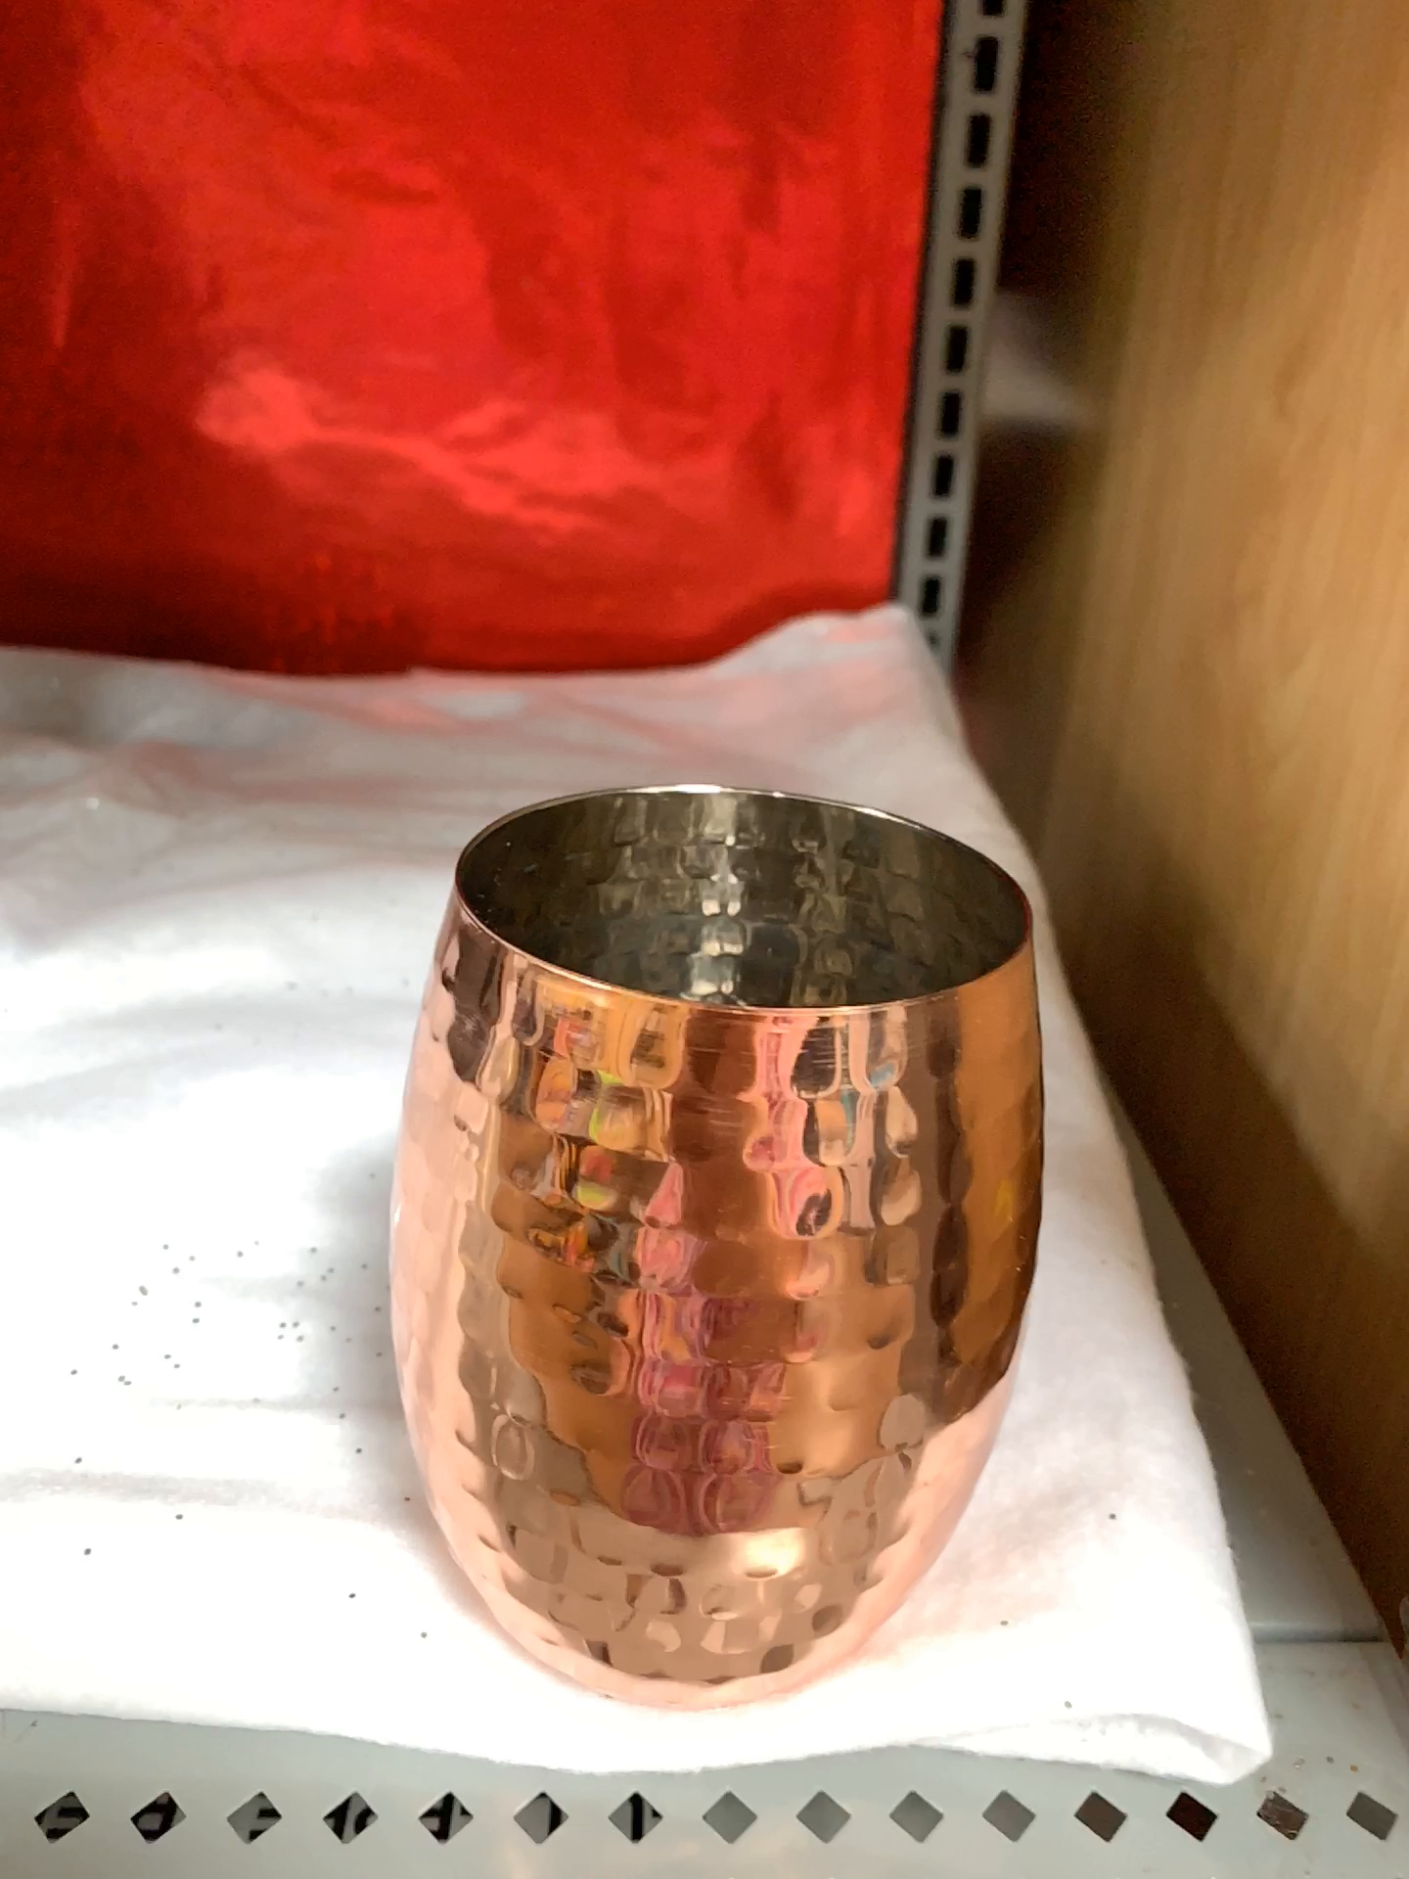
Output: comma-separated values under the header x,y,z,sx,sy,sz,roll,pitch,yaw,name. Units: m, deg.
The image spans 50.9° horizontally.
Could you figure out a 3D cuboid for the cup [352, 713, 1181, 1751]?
x,y,z,sx,sy,sz,roll,pitch,yaw,name
0.006,0.034,0.199,0.078,0.104,0.081,2,27,-1,cup
